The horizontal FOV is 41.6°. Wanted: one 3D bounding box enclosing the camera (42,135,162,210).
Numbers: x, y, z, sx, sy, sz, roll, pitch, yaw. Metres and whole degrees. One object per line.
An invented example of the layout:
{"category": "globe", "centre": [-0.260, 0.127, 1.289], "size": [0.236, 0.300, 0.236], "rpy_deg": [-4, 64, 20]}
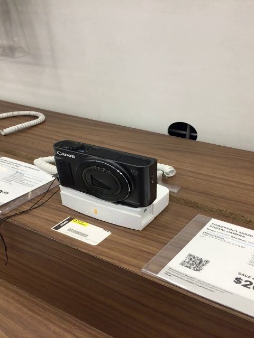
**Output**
{"category": "camera", "centre": [-0.025, 0.001, 0.323], "size": [0.107, 0.045, 0.030], "rpy_deg": [15, 37, 25]}
